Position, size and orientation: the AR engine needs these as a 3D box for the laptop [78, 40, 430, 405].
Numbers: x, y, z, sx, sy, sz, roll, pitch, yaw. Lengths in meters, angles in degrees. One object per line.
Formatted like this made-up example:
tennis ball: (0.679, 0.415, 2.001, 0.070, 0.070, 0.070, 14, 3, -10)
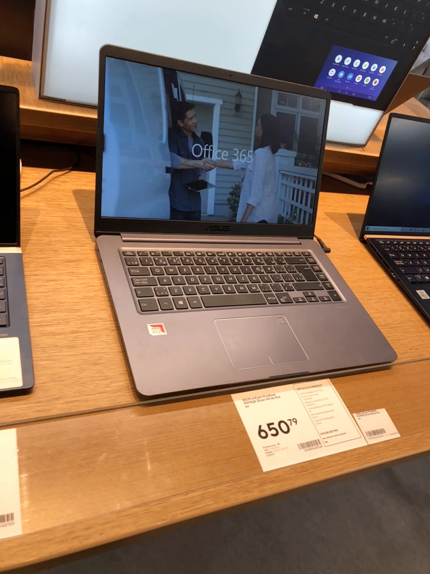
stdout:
laptop: (0.051, -0.098, 0.595, 0.353, 0.177, 0.391, -2, 48, -28)
